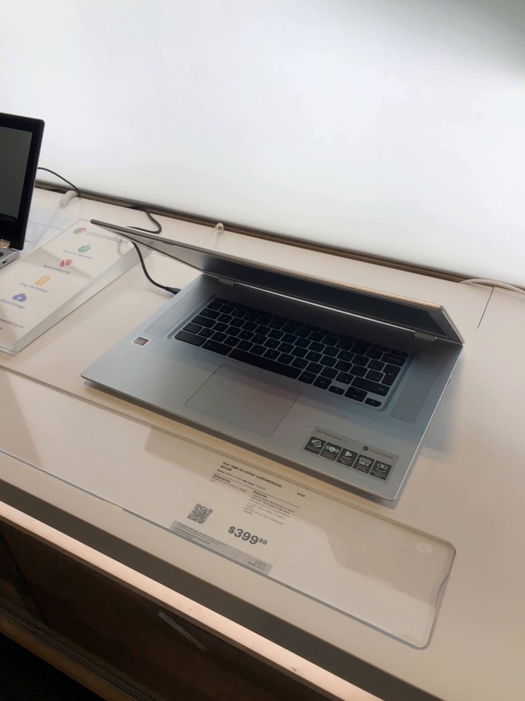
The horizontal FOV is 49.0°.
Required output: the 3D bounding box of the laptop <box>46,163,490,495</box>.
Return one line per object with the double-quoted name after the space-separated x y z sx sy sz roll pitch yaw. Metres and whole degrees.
0.012 -0.055 0.628 0.368 0.166 0.255 18 42 24 "laptop"
